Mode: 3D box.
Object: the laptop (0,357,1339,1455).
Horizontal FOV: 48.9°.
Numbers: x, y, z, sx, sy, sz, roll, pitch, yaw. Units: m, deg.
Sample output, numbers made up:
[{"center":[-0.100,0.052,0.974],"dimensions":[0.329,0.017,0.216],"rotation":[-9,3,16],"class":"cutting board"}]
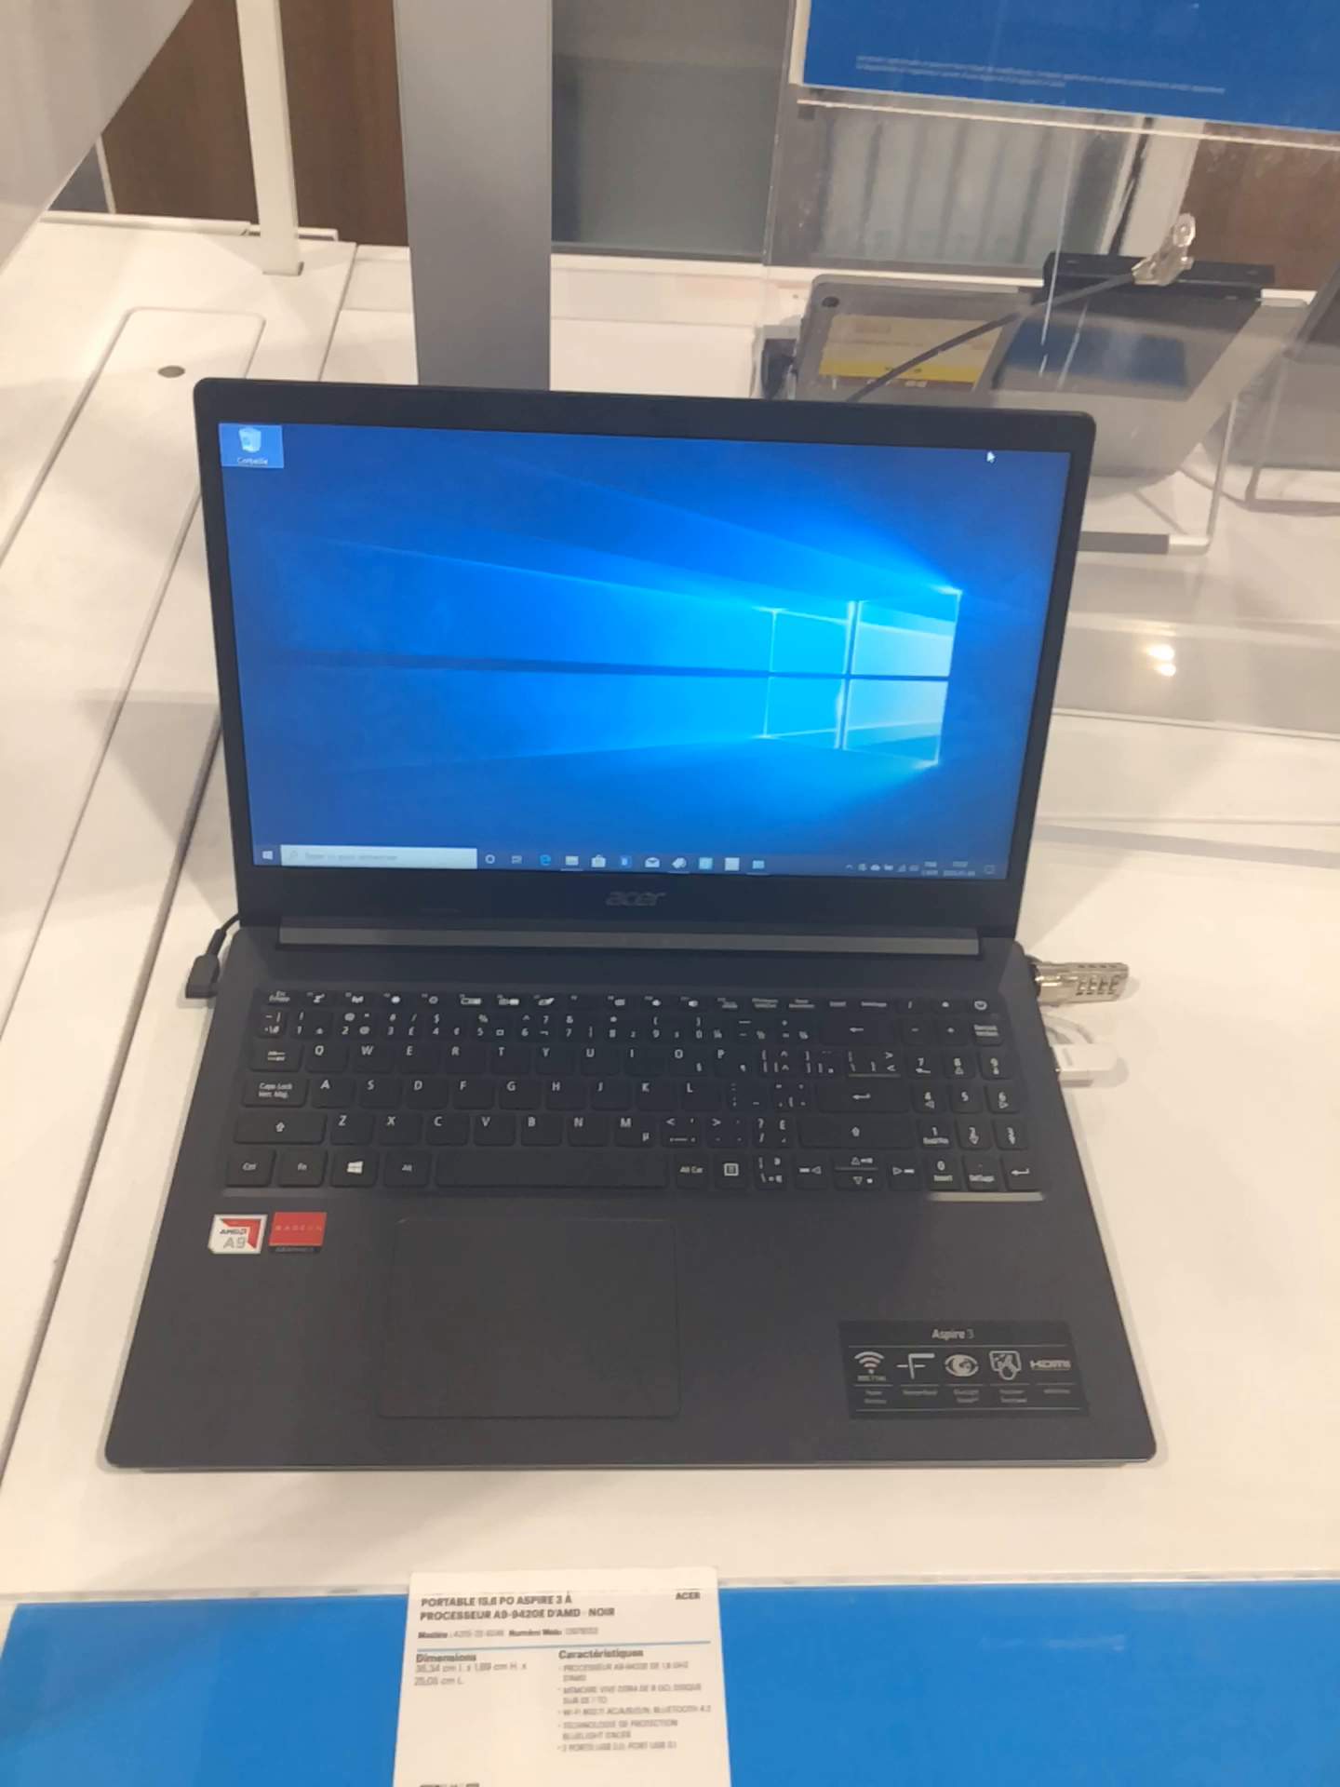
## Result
[{"center":[-0.009,-0.008,0.571],"dimensions":[0.367,0.212,0.351],"rotation":[1,47,-3],"class":"laptop"}]
